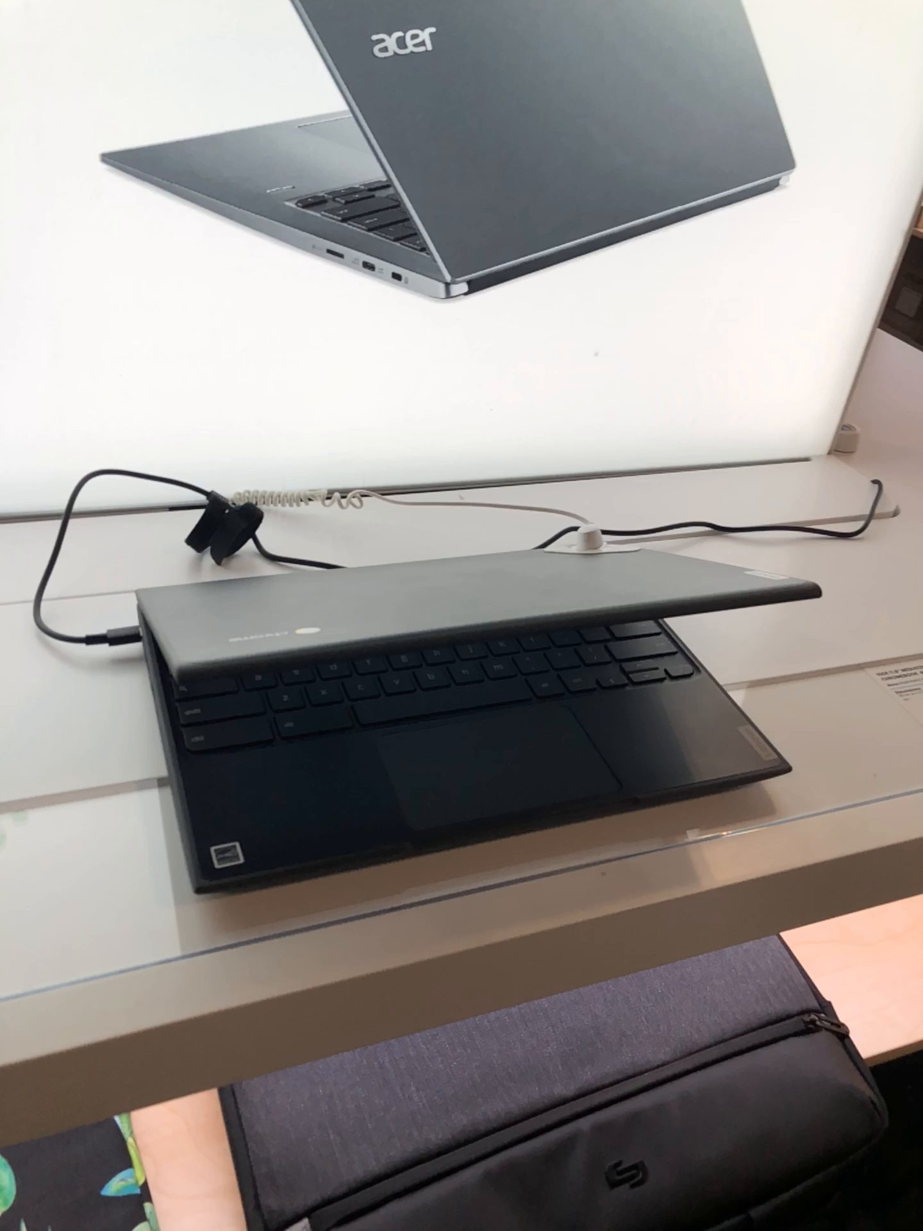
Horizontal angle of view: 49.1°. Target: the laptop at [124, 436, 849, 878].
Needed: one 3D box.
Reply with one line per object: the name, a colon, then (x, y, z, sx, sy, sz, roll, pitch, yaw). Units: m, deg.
laptop: (-0.002, 0.000, 0.478, 0.277, 0.072, 0.187, -7, 40, -18)
